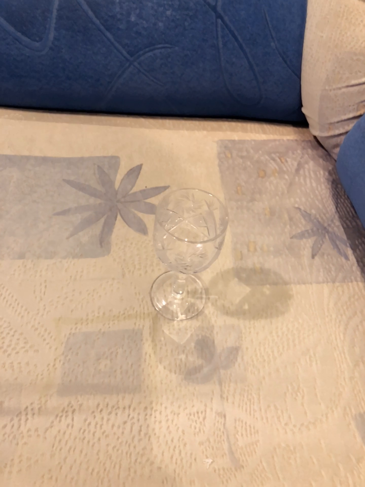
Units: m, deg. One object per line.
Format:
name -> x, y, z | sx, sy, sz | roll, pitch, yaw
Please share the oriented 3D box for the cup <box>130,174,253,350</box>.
cup -> 0.002, 0.019, 0.316 | 0.060, 0.119, 0.060 | 3, 52, -4
